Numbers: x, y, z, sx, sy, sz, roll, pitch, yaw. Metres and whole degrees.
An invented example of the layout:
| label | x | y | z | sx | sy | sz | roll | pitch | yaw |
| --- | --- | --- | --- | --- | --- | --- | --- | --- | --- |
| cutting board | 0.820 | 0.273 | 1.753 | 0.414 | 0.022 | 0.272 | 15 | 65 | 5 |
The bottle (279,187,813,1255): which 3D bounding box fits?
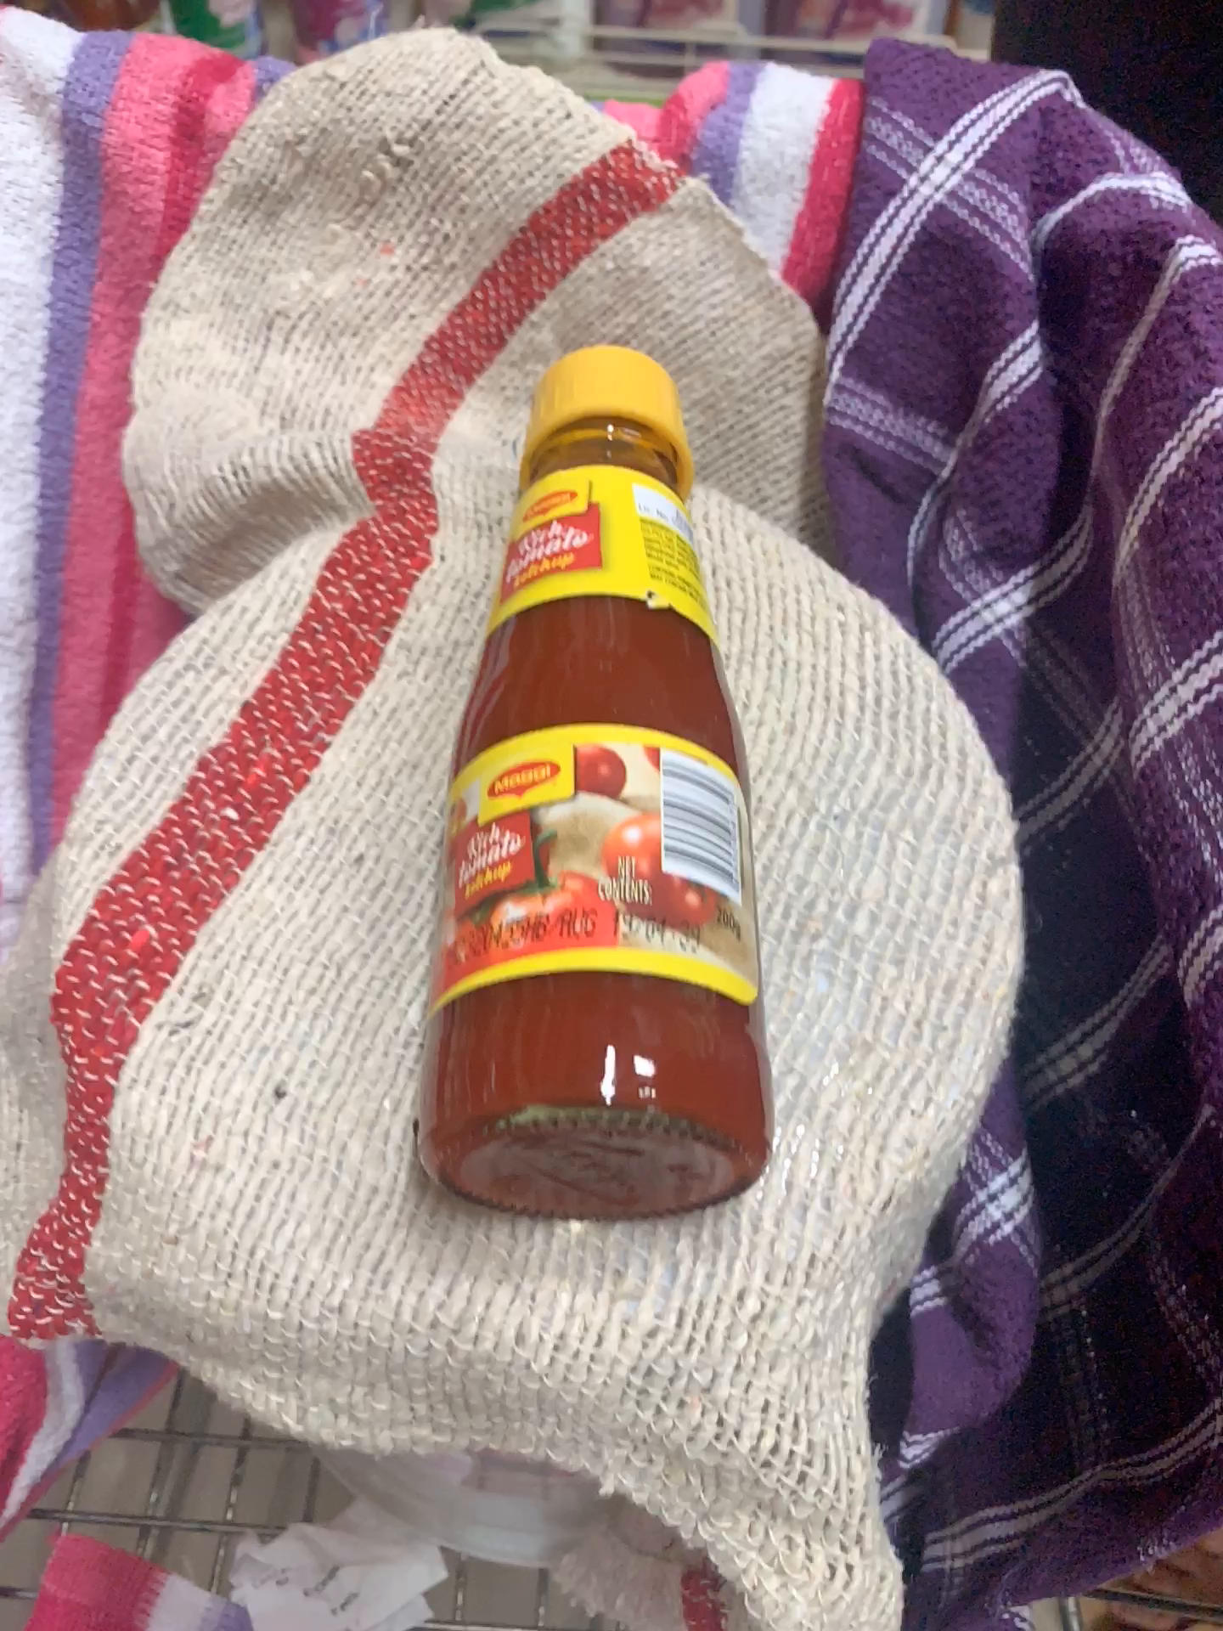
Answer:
| label | x | y | z | sx | sy | sz | roll | pitch | yaw |
| --- | --- | --- | --- | --- | --- | --- | --- | --- | --- |
| bottle | -0.007 | -0.023 | 0.212 | 0.050 | 0.050 | 0.170 | -18 | 53 | 25 |
